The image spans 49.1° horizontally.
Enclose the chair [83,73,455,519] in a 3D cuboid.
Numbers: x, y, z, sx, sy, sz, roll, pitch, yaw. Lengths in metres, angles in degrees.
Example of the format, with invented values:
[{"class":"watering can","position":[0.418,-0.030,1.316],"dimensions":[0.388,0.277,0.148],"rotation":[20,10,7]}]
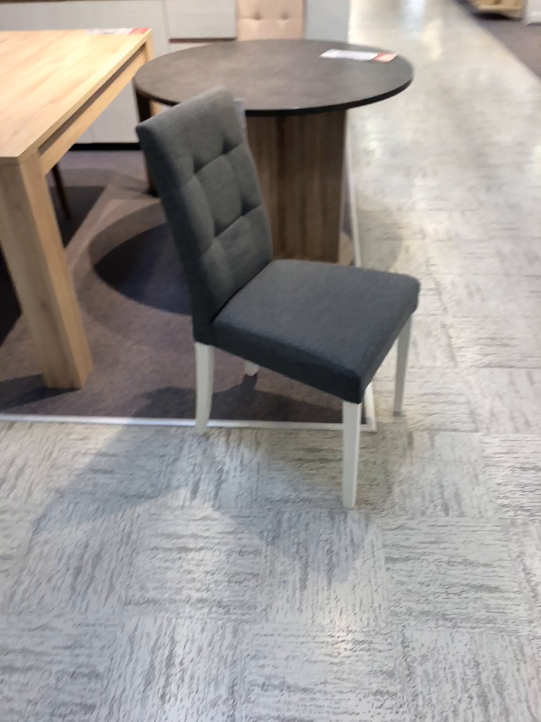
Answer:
[{"class":"chair","position":[0.025,-0.162,1.417],"dimensions":[0.580,0.825,0.463],"rotation":[18,42,23]}]
